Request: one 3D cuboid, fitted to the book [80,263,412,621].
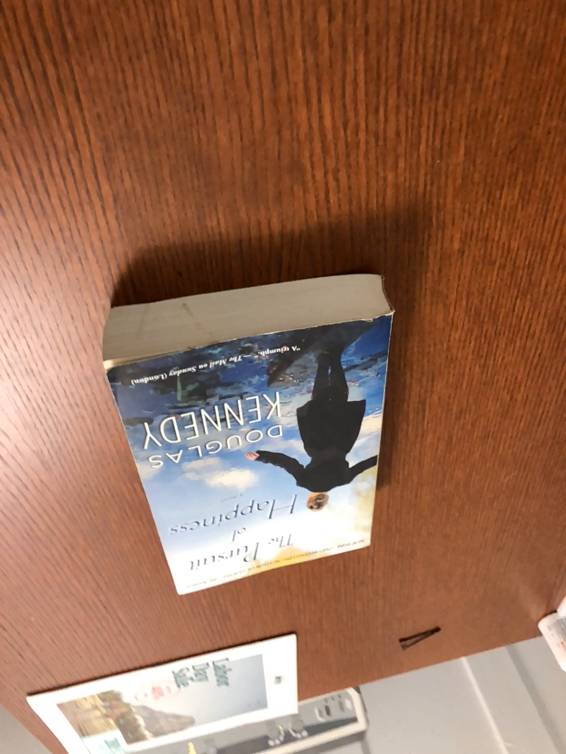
[{"bbox_3d":[-0.016,0.056,0.395,0.160,0.050,0.241,-10,133,-8],"label":"book"}]
